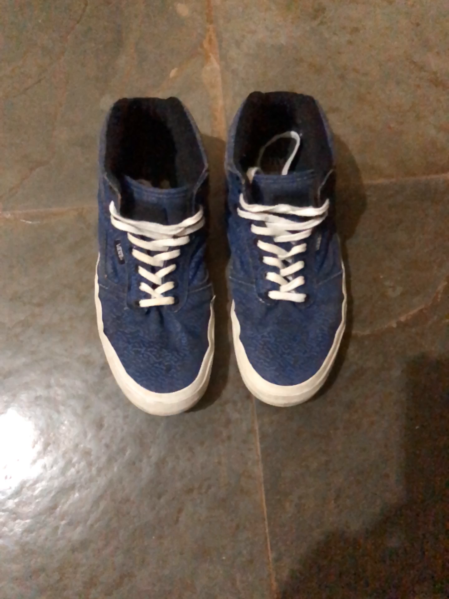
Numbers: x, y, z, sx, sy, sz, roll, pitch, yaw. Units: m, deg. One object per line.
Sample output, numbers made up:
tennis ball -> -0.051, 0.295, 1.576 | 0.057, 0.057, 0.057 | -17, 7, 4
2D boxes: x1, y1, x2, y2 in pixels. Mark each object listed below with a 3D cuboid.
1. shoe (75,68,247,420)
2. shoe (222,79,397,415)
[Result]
shoe -> -0.056, -0.043, 0.438 | 0.120, 0.110, 0.280 | -3, 77, -3
shoe -> 0.062, -0.043, 0.440 | 0.120, 0.090, 0.280 | -1, 77, -3
